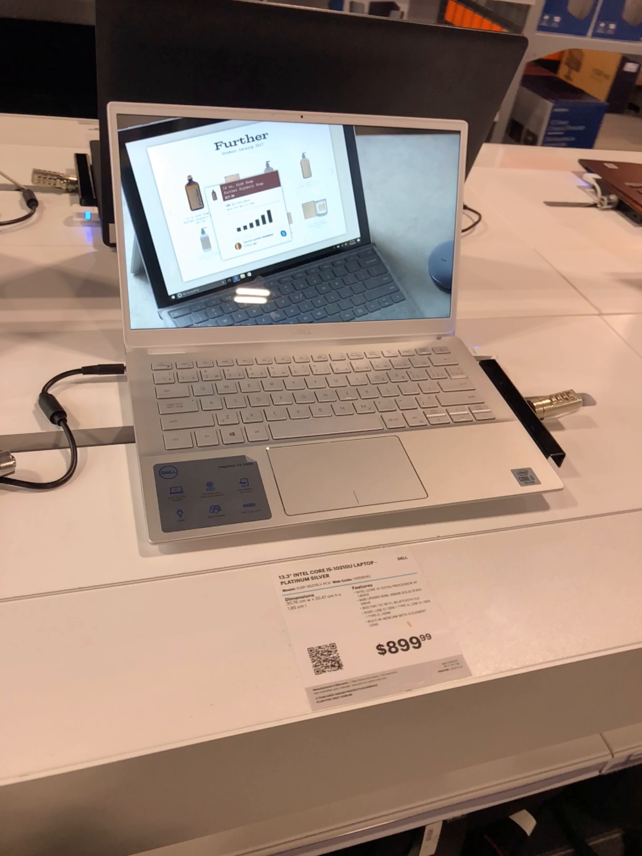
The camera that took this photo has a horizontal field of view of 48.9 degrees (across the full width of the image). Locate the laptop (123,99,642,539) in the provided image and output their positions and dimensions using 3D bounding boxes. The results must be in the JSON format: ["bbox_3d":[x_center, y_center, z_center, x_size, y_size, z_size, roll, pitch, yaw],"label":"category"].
[{"bbox_3d":[0.012,-0.105,0.534,0.293,0.165,0.294,-5,44,-15],"label":"laptop"}]
